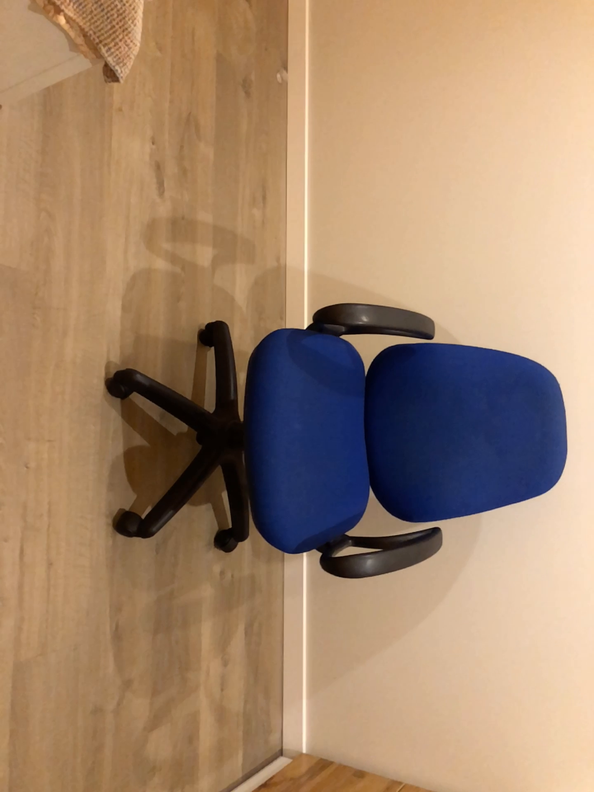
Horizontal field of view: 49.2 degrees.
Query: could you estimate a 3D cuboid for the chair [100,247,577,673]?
[{"bbox_3d":[0.124,0.111,1.594,0.704,0.904,0.696,-4,91,-58],"label":"chair"}]
